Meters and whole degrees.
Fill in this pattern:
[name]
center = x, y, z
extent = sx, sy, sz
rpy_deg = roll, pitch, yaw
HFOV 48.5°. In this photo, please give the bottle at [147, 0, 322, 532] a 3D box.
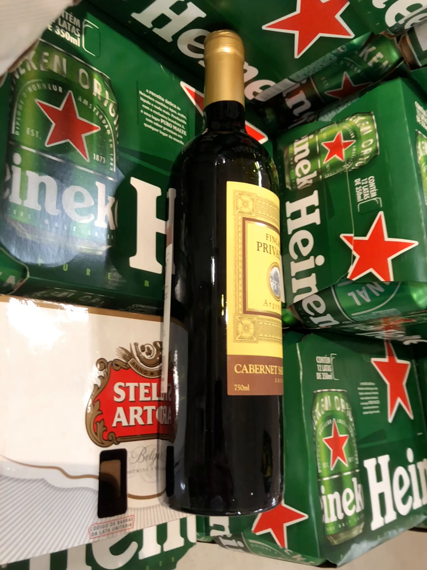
[bottle]
center = 0.008, -0.034, 0.308
extent = 0.080, 0.060, 0.330
rpy_deg = 14, 68, -45
